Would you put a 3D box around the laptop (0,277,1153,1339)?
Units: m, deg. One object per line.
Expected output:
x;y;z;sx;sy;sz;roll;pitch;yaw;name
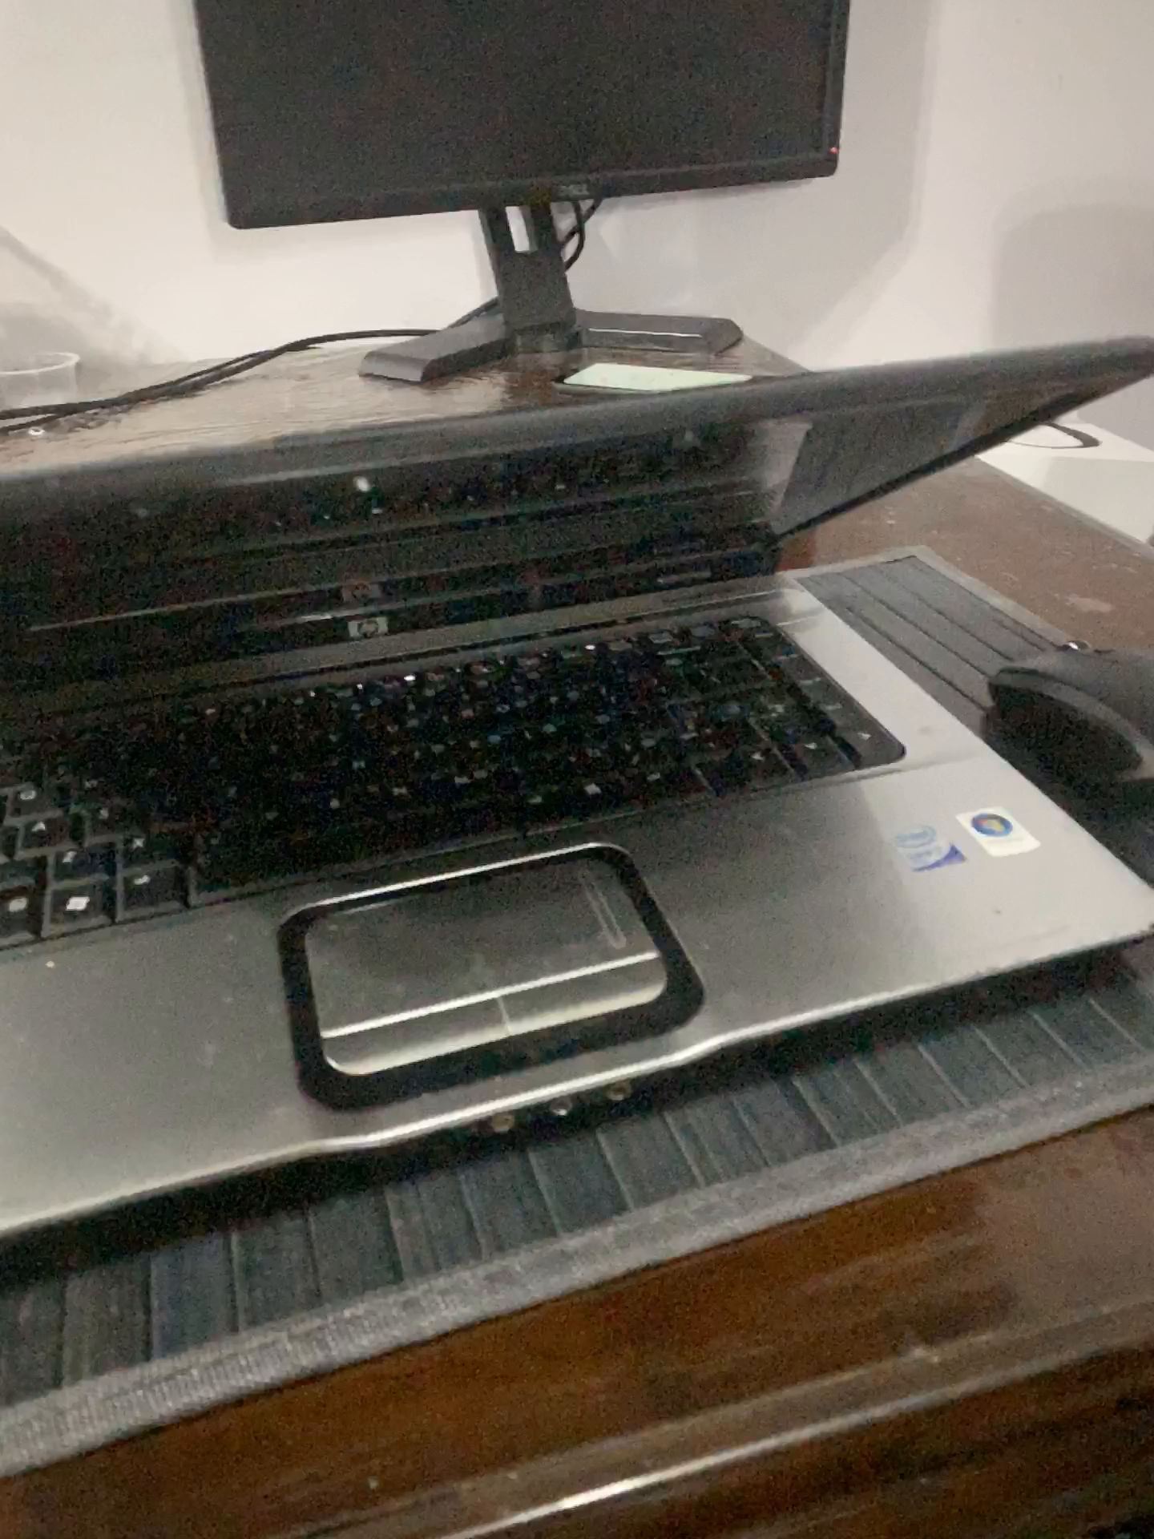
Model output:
-0.042;-0.043;0.329;0.343;0.108;0.245;-11;35;-16;laptop
